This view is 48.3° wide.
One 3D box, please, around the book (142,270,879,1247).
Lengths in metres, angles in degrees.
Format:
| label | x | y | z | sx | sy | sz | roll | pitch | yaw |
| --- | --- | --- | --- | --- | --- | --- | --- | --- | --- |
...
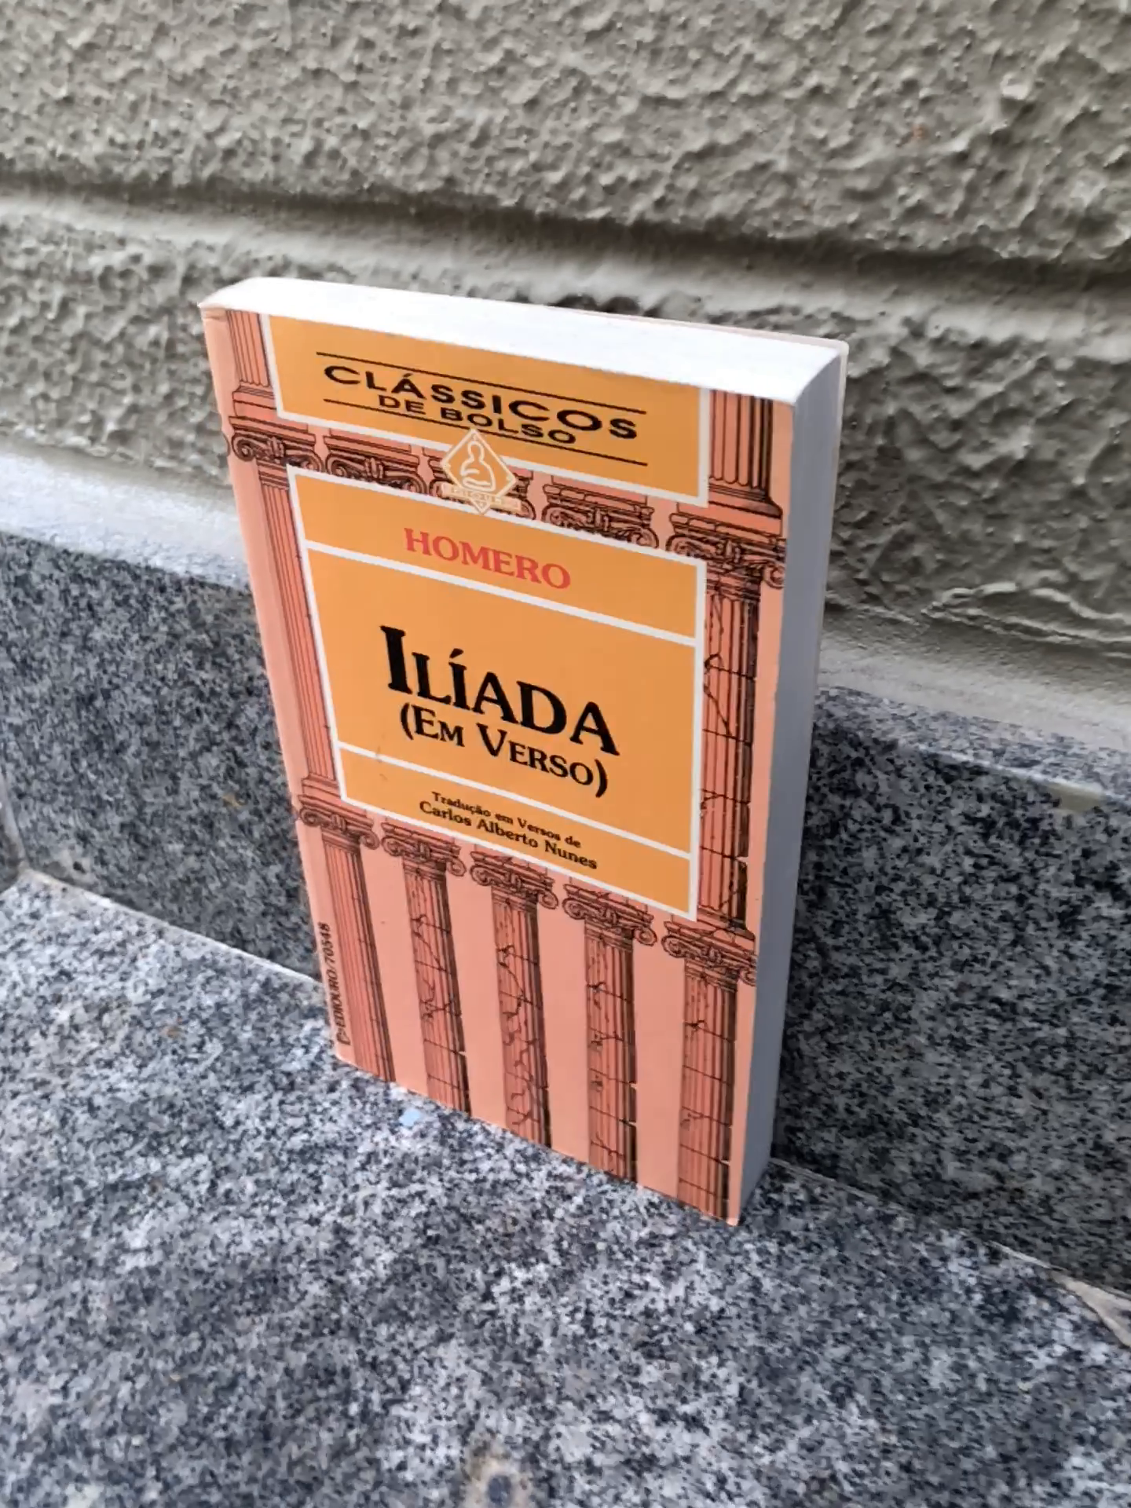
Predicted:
| label | x | y | z | sx | sy | sz | roll | pitch | yaw |
| --- | --- | --- | --- | --- | --- | --- | --- | --- | --- |
| book | -0.012 | 0.011 | 0.295 | 0.139 | 0.218 | 0.030 | 16 | 39 | 23 |
